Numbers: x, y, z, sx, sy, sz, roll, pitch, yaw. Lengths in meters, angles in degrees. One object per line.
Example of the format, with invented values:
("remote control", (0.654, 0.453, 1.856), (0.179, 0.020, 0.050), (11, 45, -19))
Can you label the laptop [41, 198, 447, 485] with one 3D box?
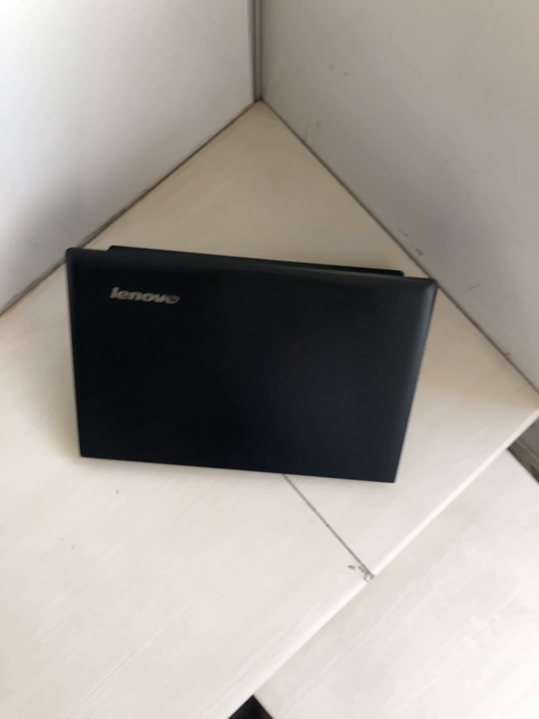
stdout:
("laptop", (-0.025, -0.008, 0.664), (0.374, 0.162, 0.252), (5, 86, -1))
